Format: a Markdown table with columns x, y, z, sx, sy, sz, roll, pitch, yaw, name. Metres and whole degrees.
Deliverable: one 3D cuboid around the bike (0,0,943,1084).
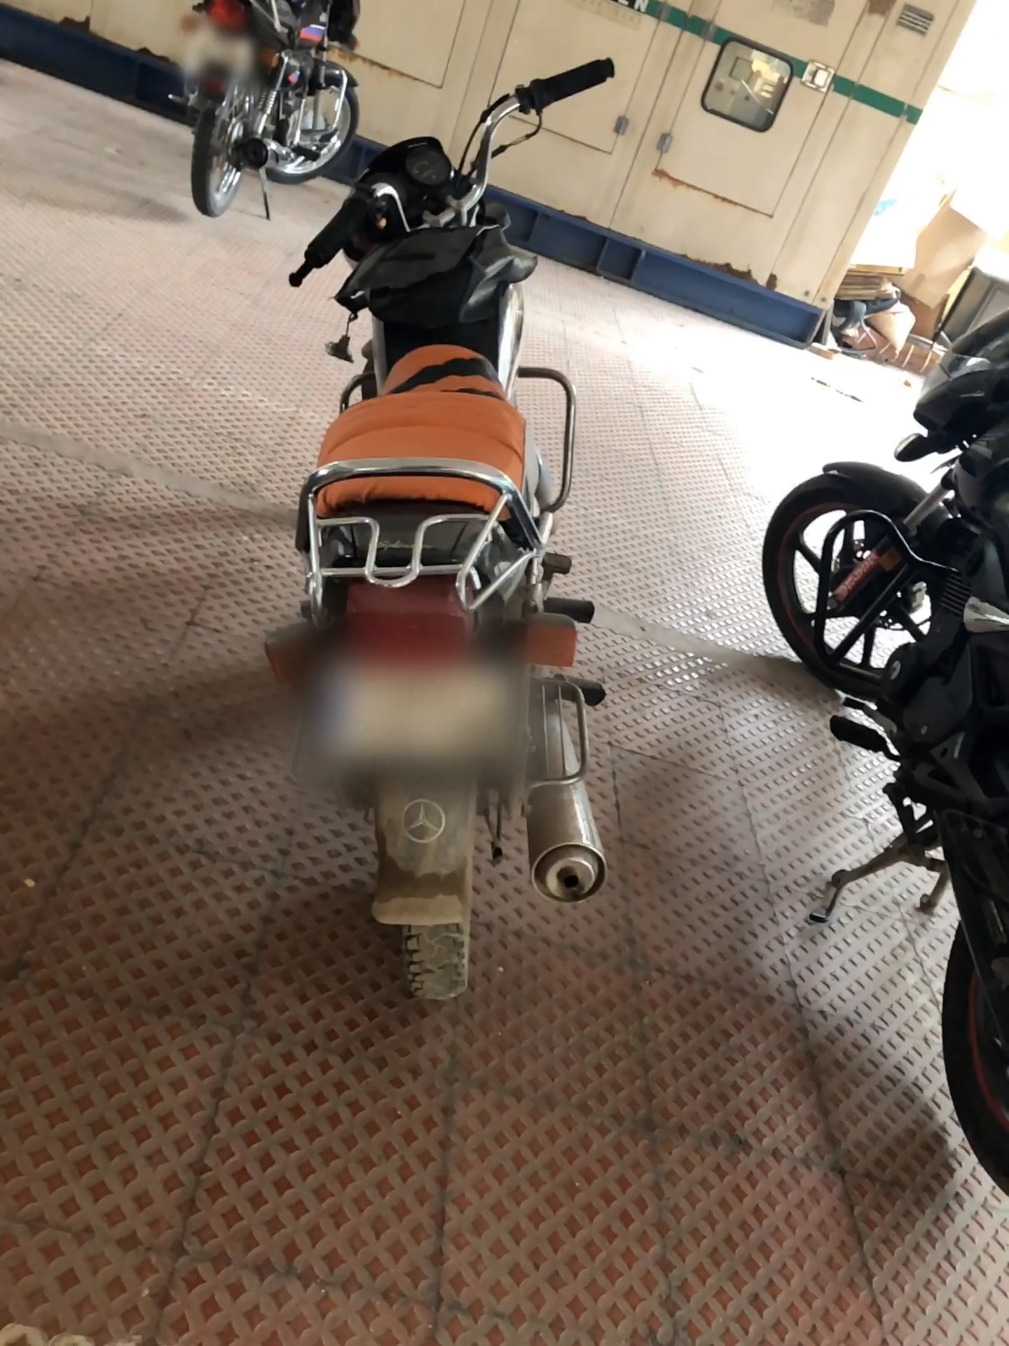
| x | y | z | sx | sy | sz | roll | pitch | yaw | name |
| --- | --- | --- | --- | --- | --- | --- | --- | --- | --- |
| -0.214 | -0.358 | 1.738 | 0.688 | 1.123 | 1.409 | 14 | 31 | -15 | bike |
